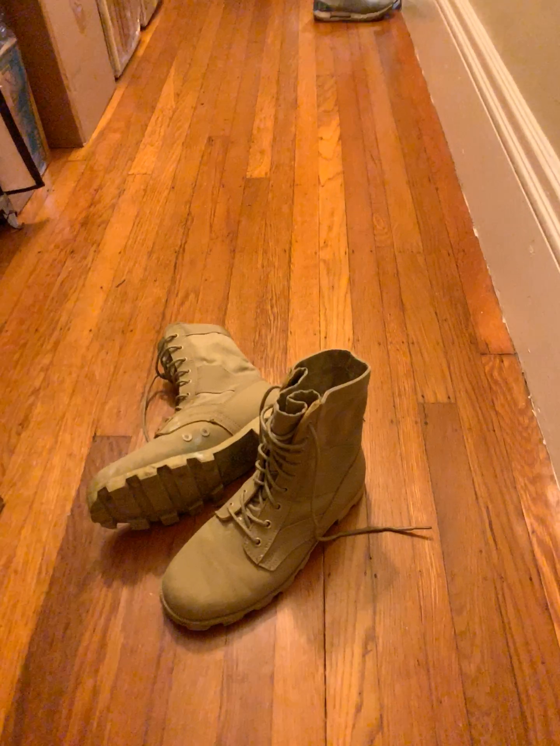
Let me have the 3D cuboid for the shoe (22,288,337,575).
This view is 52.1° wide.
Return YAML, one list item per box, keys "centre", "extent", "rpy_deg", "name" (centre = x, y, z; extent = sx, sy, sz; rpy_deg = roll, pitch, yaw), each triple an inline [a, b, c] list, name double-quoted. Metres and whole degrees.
- centre: [-0.125, 0.049, 0.732]
  extent: [0.290, 0.109, 0.261]
  rpy_deg: [-31, 47, -23]
  name: "shoe"

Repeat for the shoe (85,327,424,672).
- centre: [-0.011, 0.124, 0.584]
  extent: [0.290, 0.199, 0.121]
  rpy_deg: [-33, 54, -24]
  name: "shoe"
